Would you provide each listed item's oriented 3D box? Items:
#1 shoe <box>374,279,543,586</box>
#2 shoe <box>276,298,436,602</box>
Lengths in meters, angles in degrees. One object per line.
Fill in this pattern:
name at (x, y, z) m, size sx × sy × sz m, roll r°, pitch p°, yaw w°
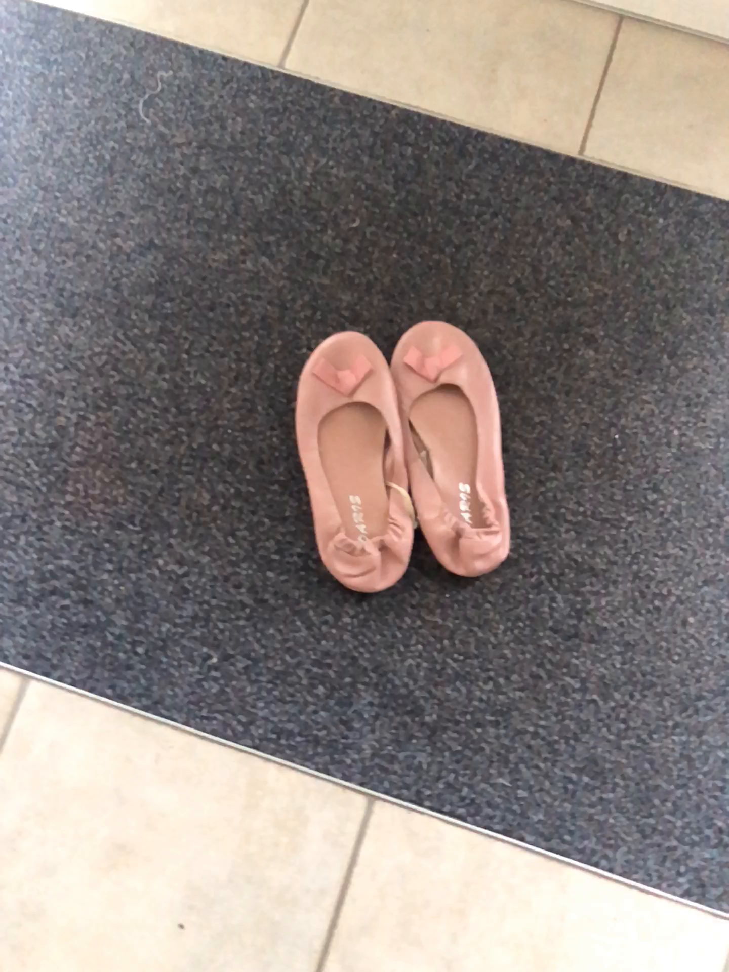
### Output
shoe at (0.072, -0.041, 0.680) m, size 0.090 × 0.100 × 0.230 m, roll -10°, pitch 78°, yaw -1°
shoe at (-0.008, -0.026, 0.684) m, size 0.090 × 0.100 × 0.230 m, roll -10°, pitch 78°, yaw -1°
